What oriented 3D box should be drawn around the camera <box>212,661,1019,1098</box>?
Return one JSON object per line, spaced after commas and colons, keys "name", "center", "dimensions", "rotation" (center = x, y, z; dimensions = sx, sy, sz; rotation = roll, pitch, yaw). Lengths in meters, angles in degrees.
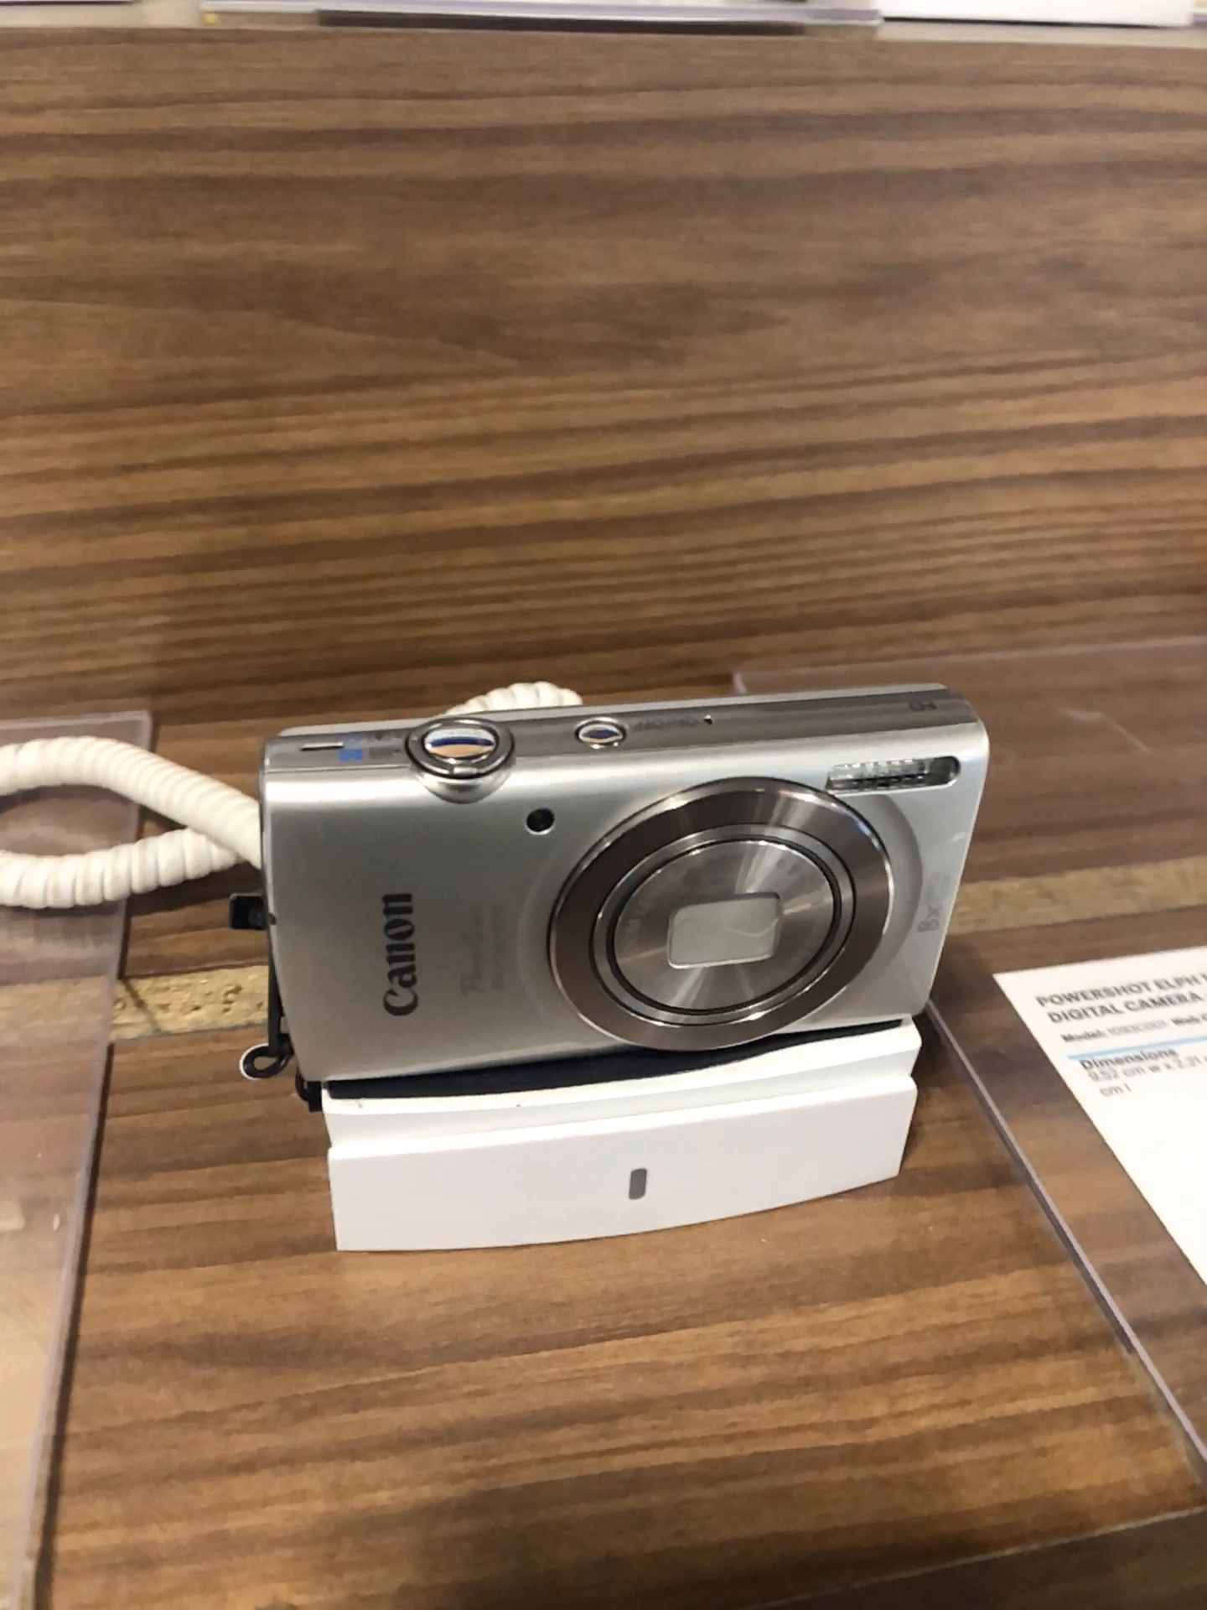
{"name": "camera", "center": [0.001, 0.010, 0.186], "dimensions": [0.100, 0.050, 0.020], "rotation": [-5, 36, -9]}
